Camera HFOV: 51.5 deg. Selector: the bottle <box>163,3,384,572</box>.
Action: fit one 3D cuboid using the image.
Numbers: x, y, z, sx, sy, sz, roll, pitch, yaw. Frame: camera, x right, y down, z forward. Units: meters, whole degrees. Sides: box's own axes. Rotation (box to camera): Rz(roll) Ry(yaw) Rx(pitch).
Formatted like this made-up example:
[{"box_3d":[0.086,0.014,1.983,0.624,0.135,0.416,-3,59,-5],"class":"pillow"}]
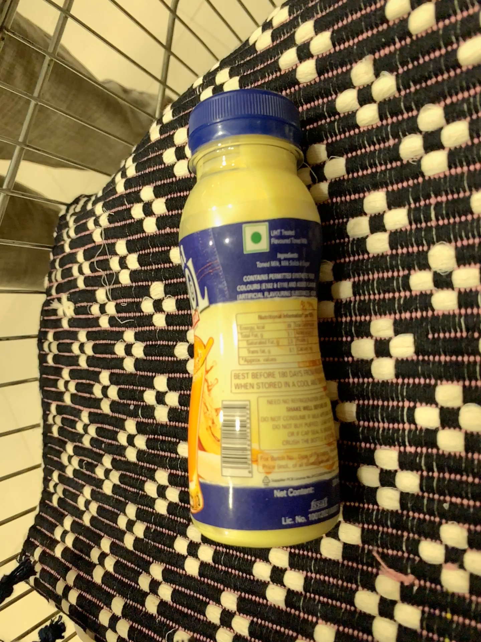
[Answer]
[{"box_3d":[0.007,-0.010,0.171,0.060,0.060,0.160,0,85,-3],"class":"bottle"}]
